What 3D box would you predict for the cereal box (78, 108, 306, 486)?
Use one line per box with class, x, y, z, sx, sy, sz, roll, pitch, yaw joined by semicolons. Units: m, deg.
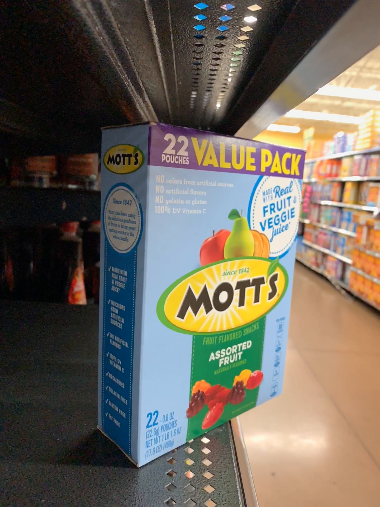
cereal box;0.008;0.025;0.326;0.180;0.239;0.060;-5;12;-43
